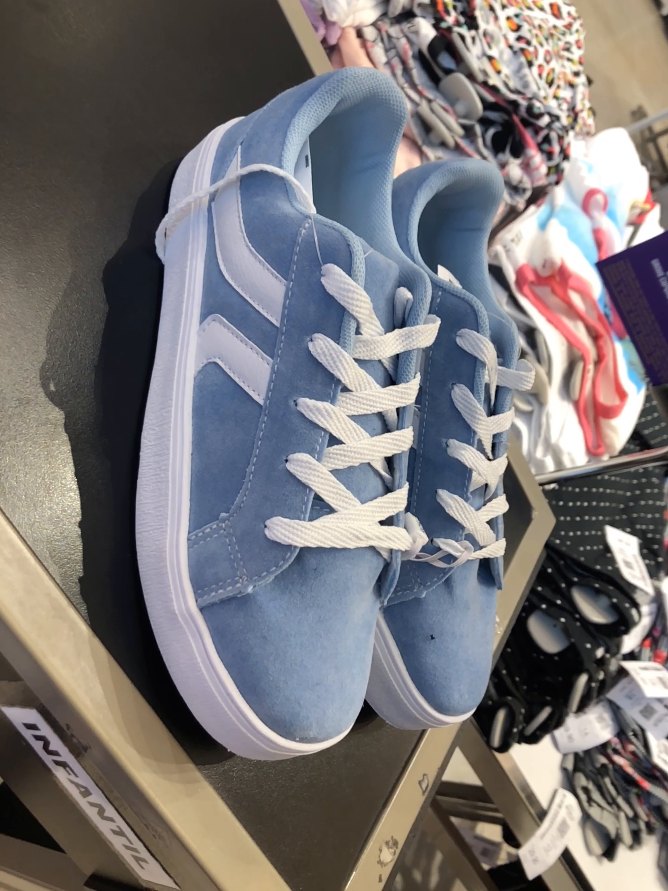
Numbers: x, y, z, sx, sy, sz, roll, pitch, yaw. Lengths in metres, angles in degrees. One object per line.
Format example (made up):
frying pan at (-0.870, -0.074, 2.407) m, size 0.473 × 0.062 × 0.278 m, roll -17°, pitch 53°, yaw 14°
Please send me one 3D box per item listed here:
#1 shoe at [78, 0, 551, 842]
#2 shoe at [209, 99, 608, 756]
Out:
shoe at (-0.014, -0.008, 0.272) m, size 0.101 × 0.119 × 0.240 m, roll 11°, pitch 71°, yaw -46°
shoe at (0.027, -0.001, 0.340) m, size 0.101 × 0.119 × 0.240 m, roll 7°, pitch 74°, yaw -46°
